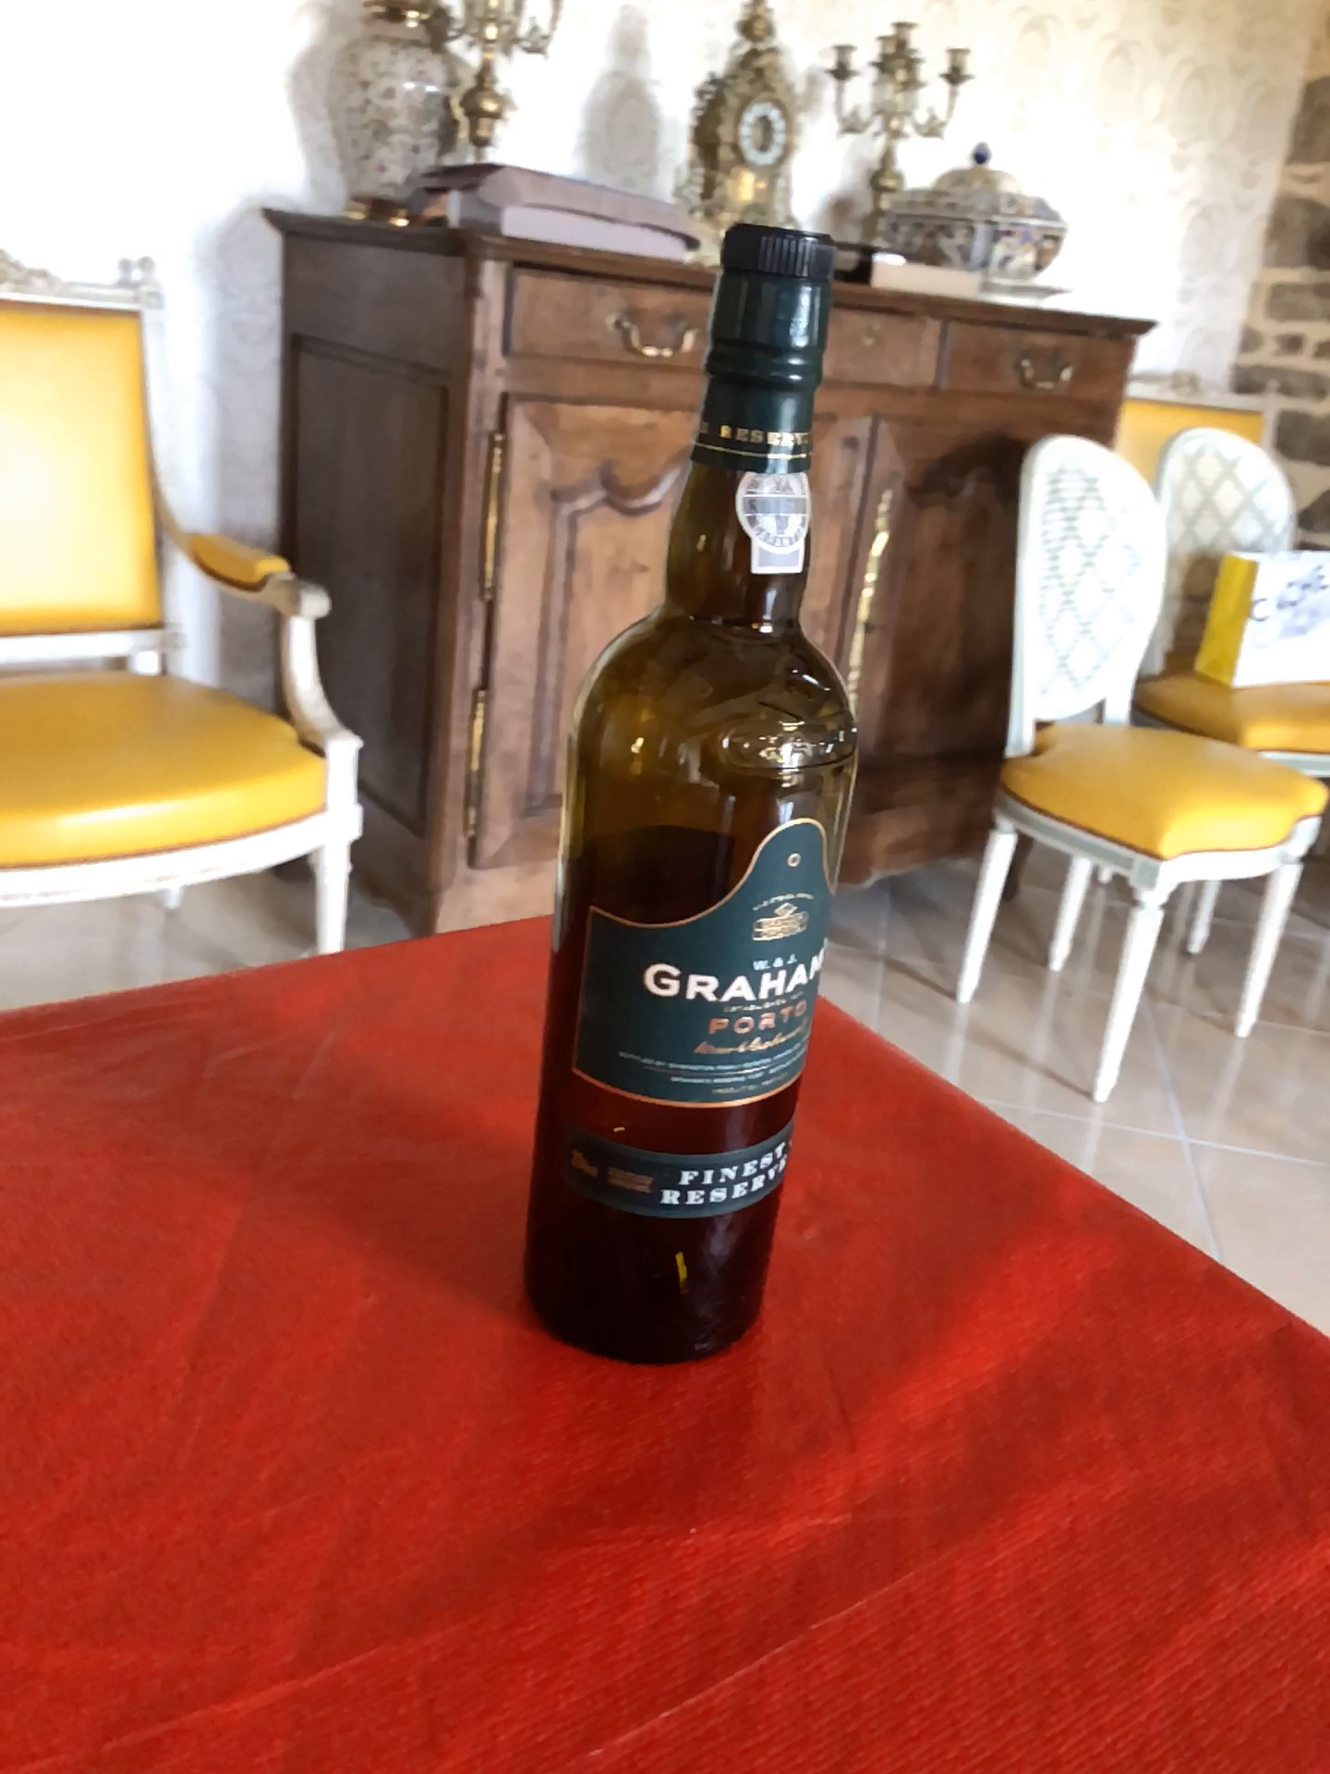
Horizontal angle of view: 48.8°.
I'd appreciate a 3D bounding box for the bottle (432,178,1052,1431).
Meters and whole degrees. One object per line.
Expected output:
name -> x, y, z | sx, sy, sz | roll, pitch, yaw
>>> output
bottle -> 0.007, -0.017, 0.390 | 0.090, 0.298, 0.090 | 6, 22, -2
